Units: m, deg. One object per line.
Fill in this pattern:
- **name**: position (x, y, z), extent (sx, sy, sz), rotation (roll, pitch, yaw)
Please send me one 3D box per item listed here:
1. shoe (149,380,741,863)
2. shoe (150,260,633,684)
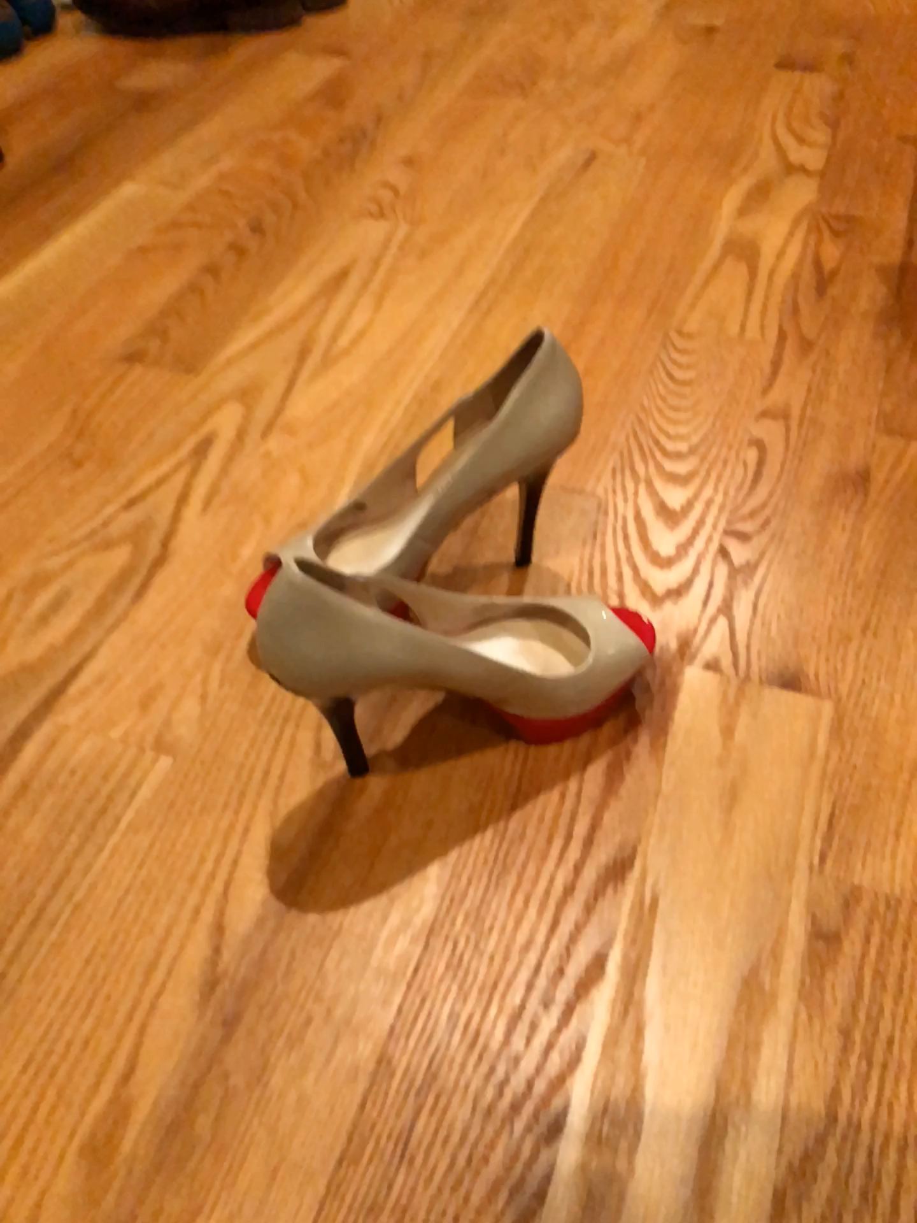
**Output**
- **shoe**: position (-0.003, 0.003, 0.439), extent (0.215, 0.129, 0.085), rotation (-18, 48, -12)
- **shoe**: position (-0.028, -0.074, 0.540), extent (0.220, 0.149, 0.080), rotation (-20, 49, -14)
